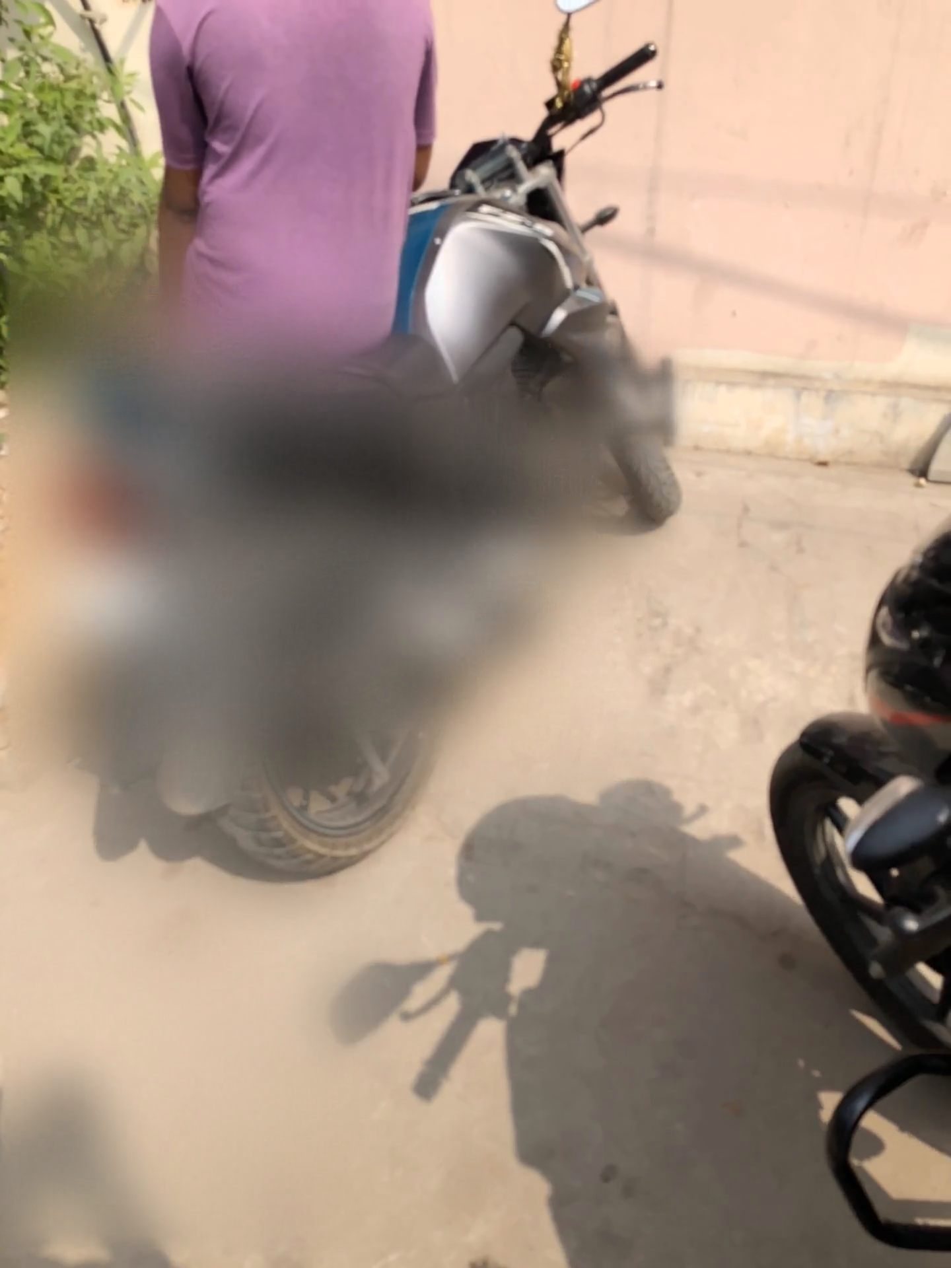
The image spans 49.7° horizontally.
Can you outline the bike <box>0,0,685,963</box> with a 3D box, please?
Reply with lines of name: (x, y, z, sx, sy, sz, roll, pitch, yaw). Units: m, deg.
bike: (-0.201, -0.652, 2.136, 0.808, 1.222, 1.838, 11, 38, 18)
